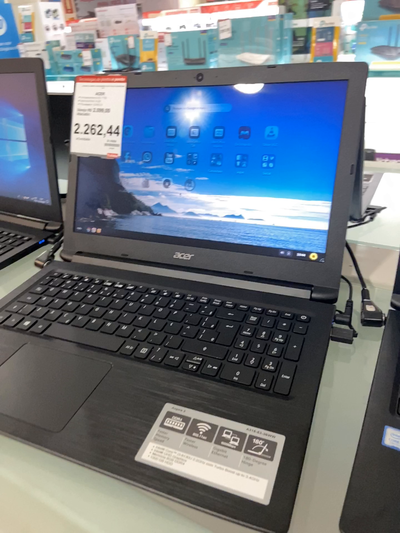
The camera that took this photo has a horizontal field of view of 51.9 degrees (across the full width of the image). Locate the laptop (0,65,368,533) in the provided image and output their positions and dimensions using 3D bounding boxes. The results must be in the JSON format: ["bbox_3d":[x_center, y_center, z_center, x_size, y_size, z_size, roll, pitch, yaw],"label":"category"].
[{"bbox_3d":[-0.063,-0.049,0.417,0.389,0.226,0.376,8,32,22],"label":"laptop"}]
